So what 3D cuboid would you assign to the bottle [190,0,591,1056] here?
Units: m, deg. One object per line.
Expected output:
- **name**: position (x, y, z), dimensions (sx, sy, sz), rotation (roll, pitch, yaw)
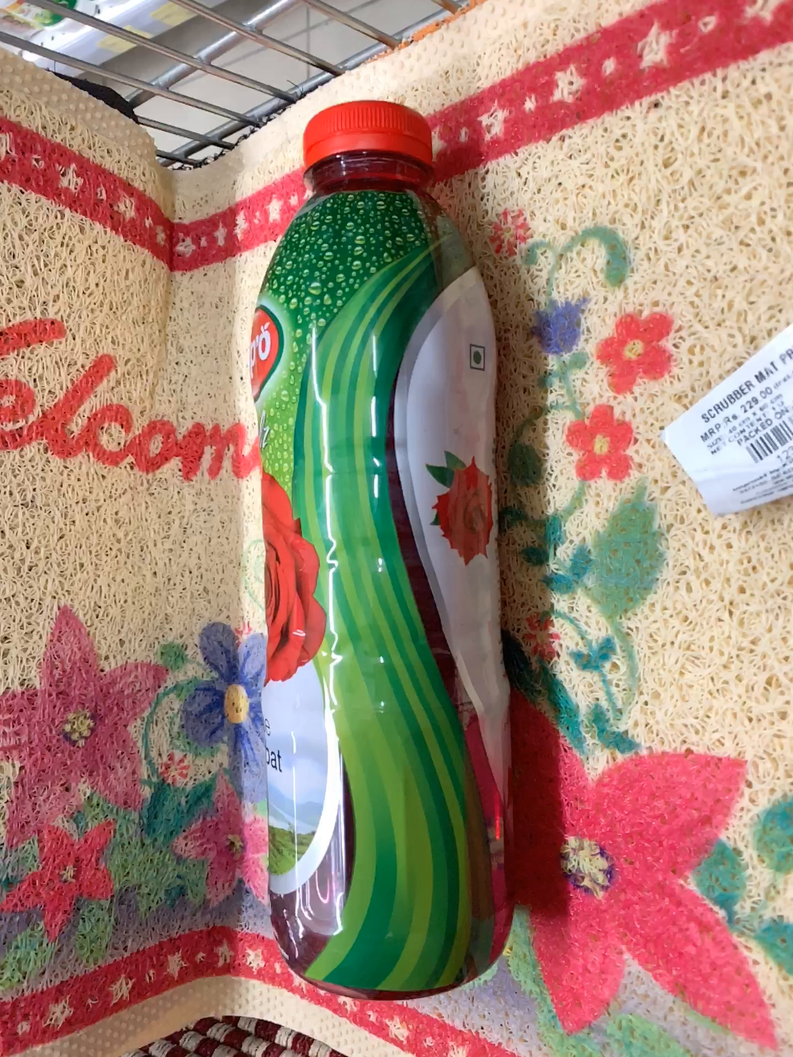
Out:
- **bottle**: position (-0.006, -0.005, 0.234), dimensions (0.080, 0.080, 0.250), rotation (-175, 82, -70)
